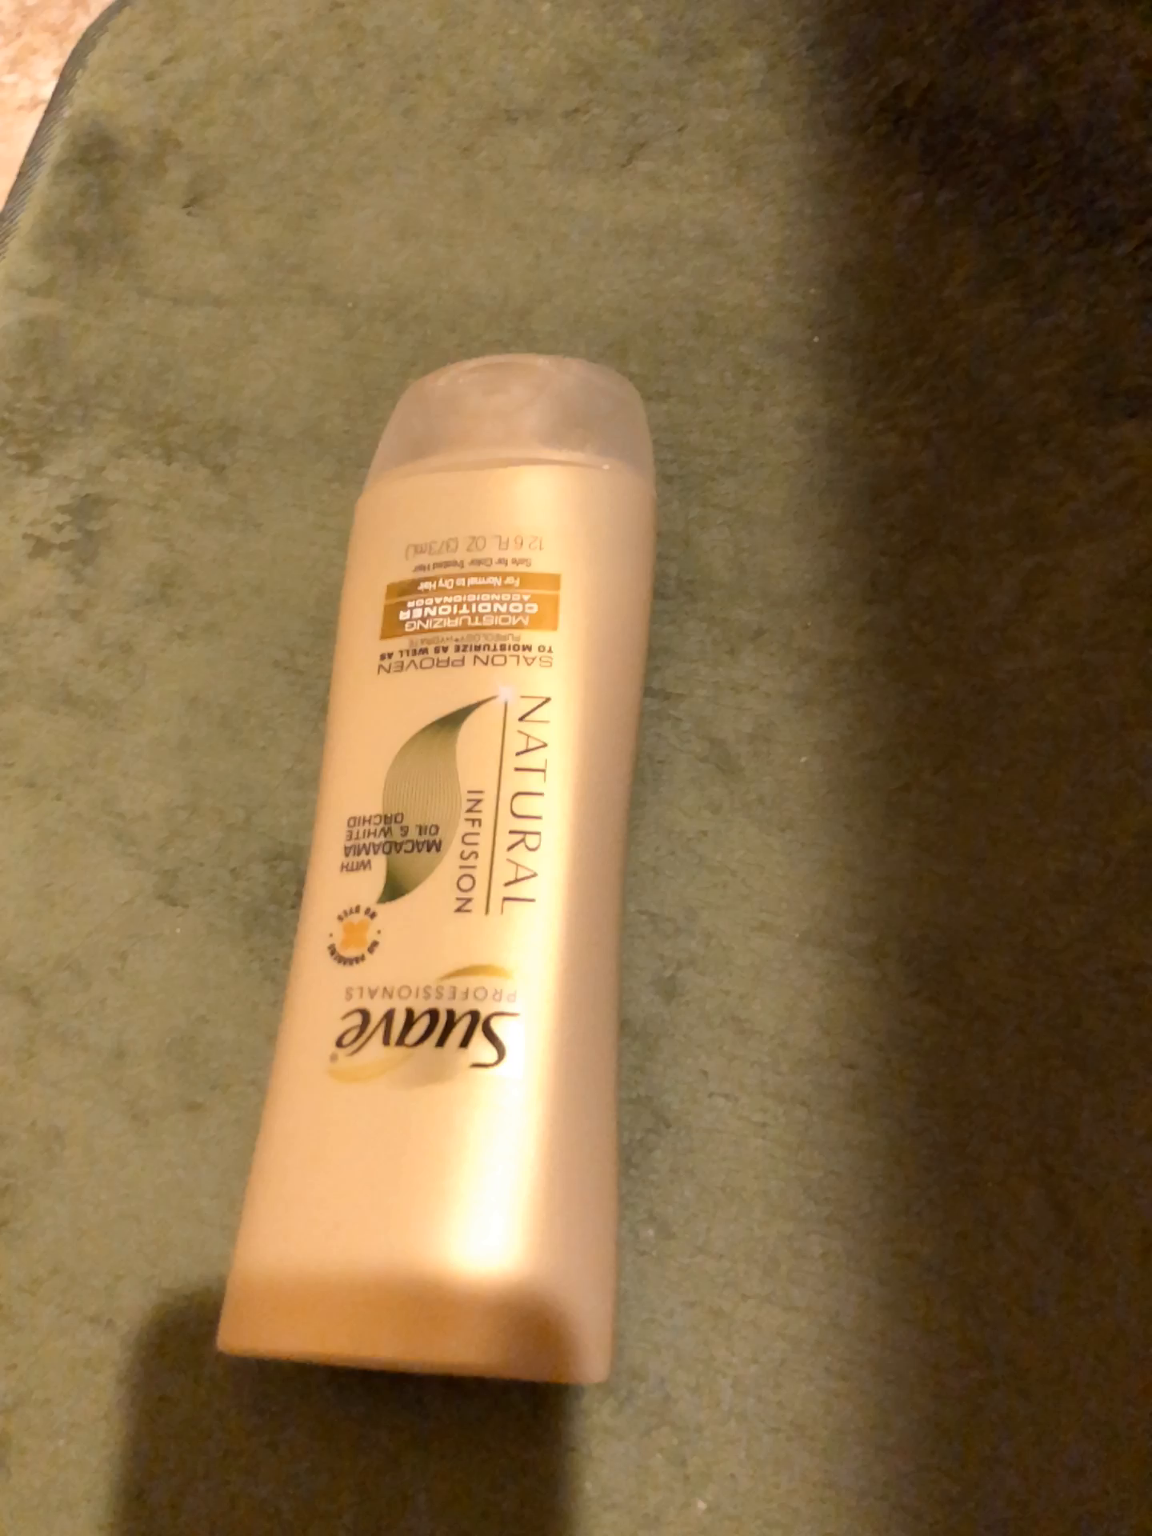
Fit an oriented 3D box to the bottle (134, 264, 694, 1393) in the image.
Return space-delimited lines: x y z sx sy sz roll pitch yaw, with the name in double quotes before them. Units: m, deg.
"bottle" -0.022 0.003 0.266 0.080 0.050 0.220 -2 67 13
